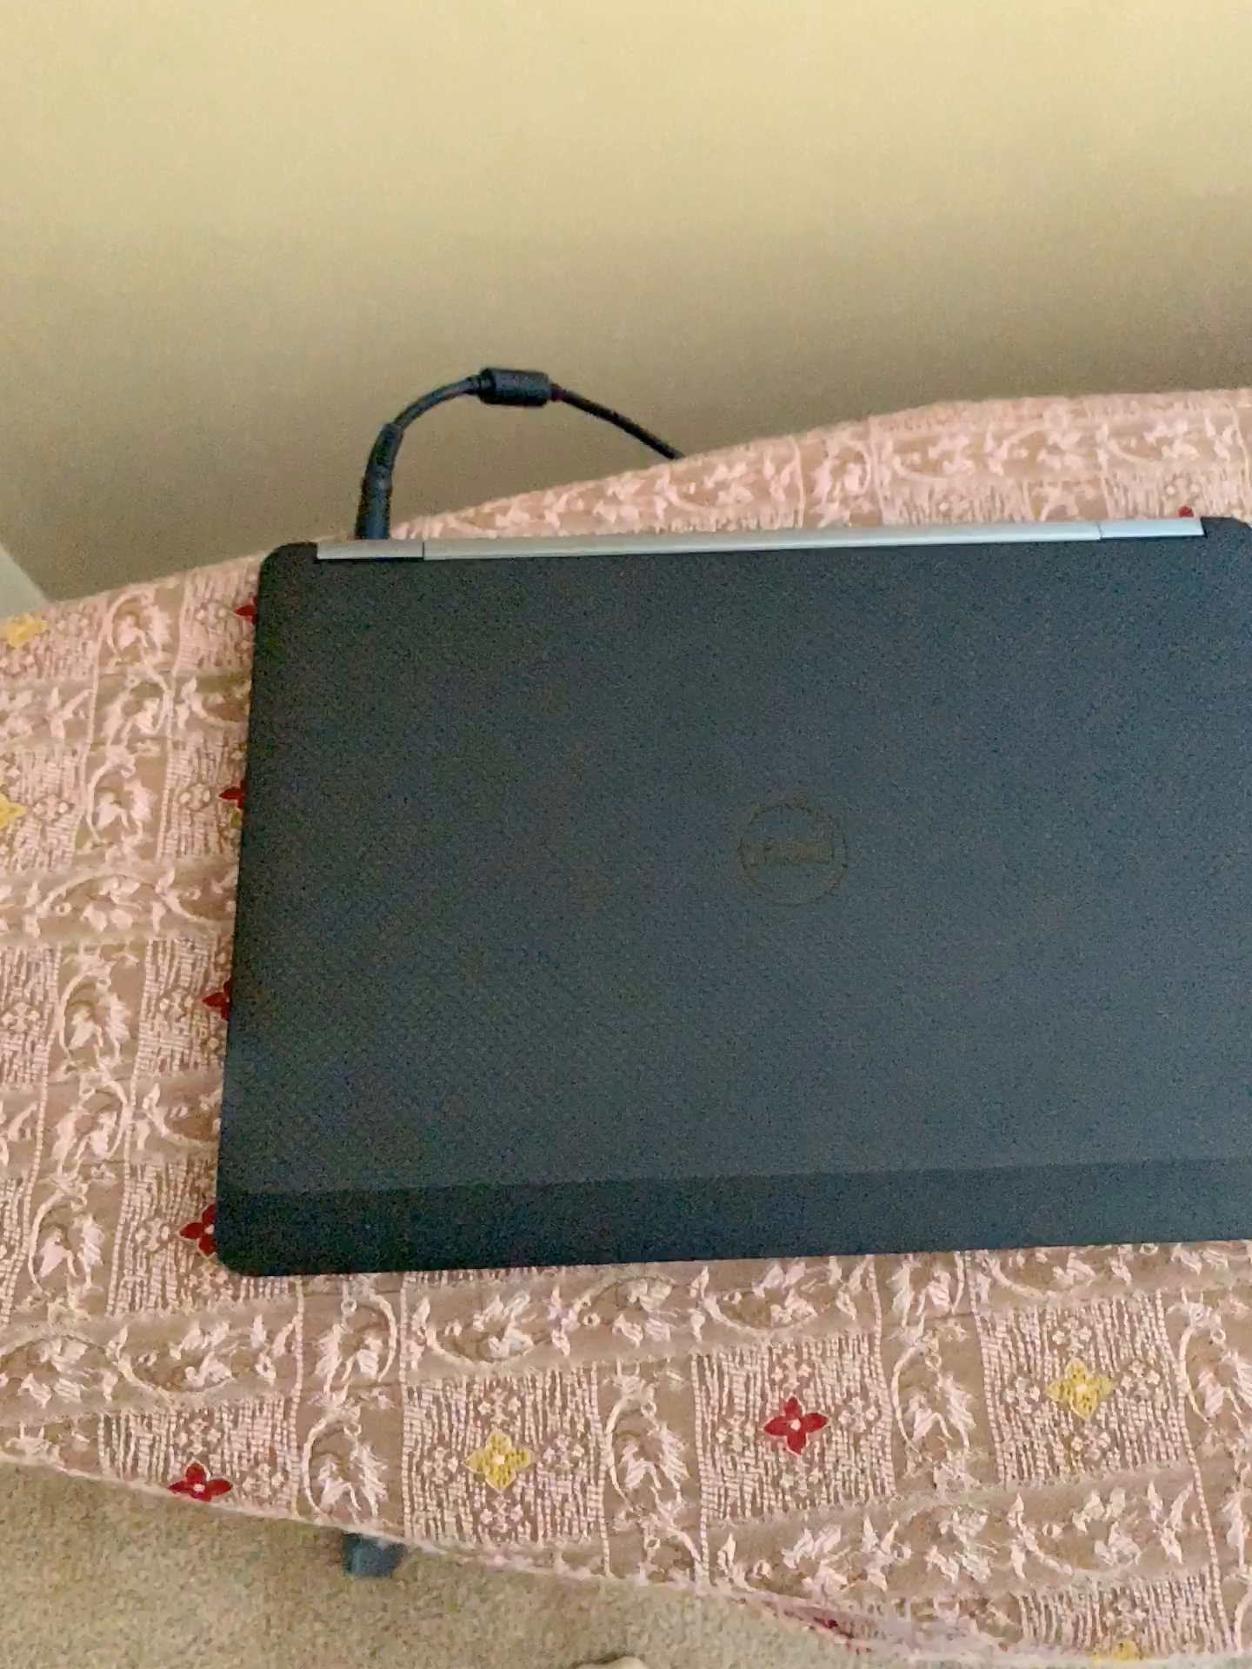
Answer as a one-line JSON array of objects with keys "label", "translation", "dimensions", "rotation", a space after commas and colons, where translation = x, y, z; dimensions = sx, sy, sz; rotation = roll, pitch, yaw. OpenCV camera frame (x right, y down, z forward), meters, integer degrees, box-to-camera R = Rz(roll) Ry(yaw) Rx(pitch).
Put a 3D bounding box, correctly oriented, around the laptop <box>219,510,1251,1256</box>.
[{"label": "laptop", "translation": [0.041, 0.010, 0.358], "dimensions": [0.293, 0.017, 0.197], "rotation": [-2, 72, 3]}]
